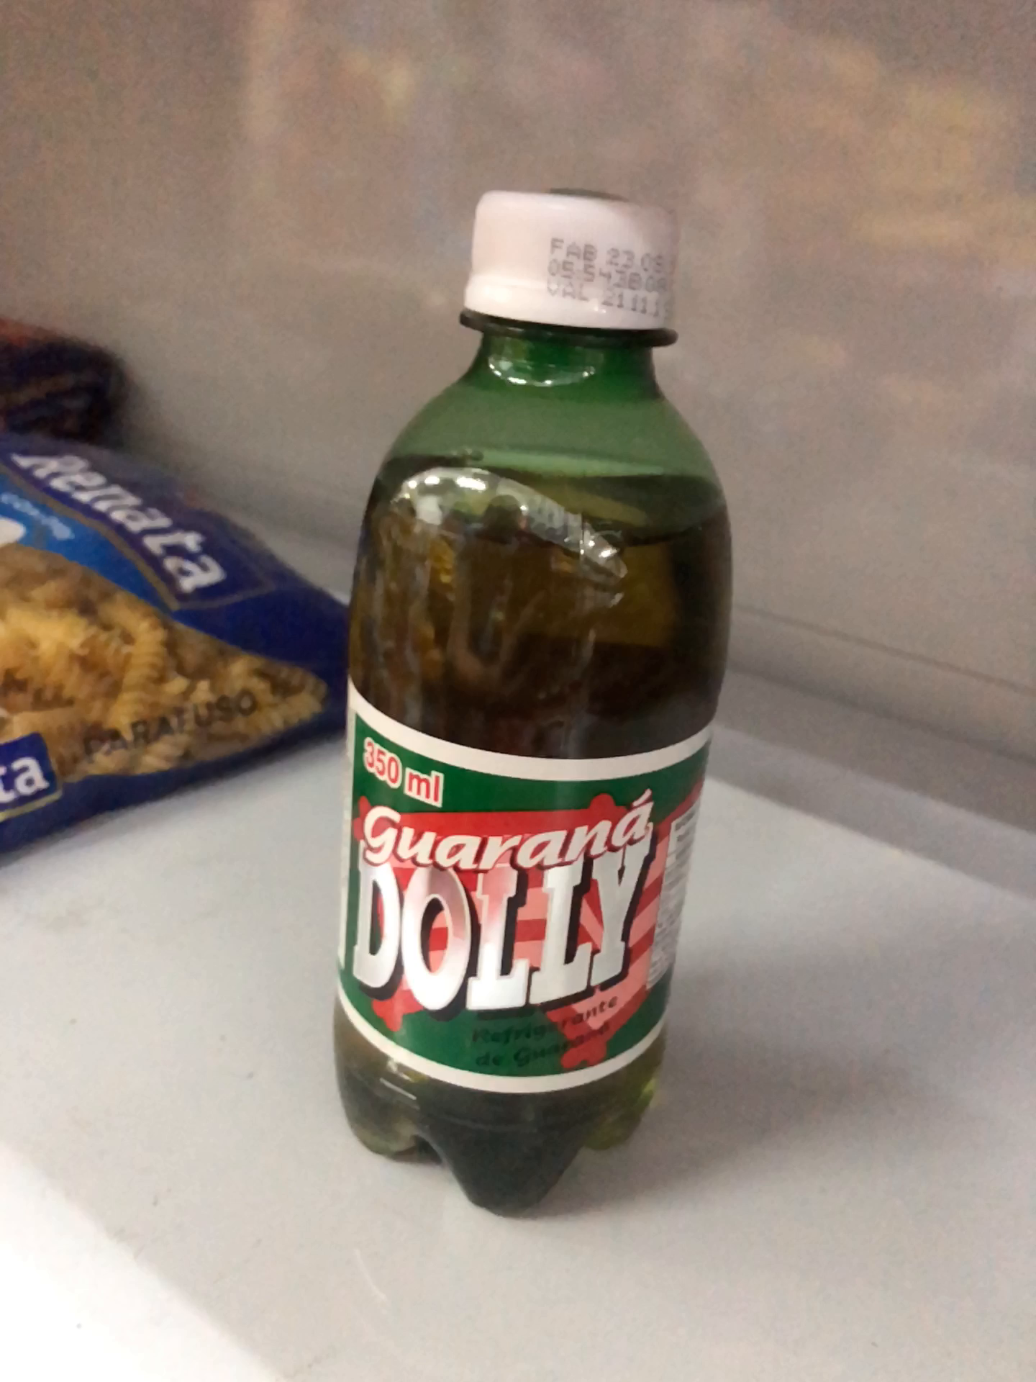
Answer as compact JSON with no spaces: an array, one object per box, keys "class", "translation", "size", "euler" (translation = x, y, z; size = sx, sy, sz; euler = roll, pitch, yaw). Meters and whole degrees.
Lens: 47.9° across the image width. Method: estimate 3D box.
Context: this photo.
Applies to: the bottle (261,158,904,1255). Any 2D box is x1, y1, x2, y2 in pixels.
[{"class":"bottle","translation":[0.005,0.004,0.213],"size":[0.080,0.179,0.070],"euler":[6,24,3]}]
